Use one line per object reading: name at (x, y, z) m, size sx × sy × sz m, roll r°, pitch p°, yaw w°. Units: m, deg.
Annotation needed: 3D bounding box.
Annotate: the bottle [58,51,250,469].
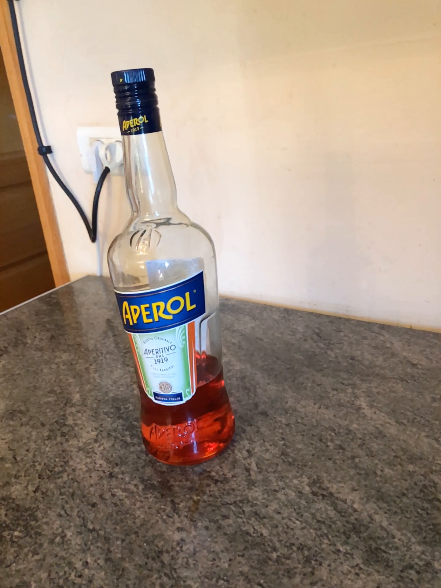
bottle at (-0.039, -0.017, 0.414) m, size 0.090 × 0.328 × 0.091 m, roll -5°, pitch 21°, yaw 2°
